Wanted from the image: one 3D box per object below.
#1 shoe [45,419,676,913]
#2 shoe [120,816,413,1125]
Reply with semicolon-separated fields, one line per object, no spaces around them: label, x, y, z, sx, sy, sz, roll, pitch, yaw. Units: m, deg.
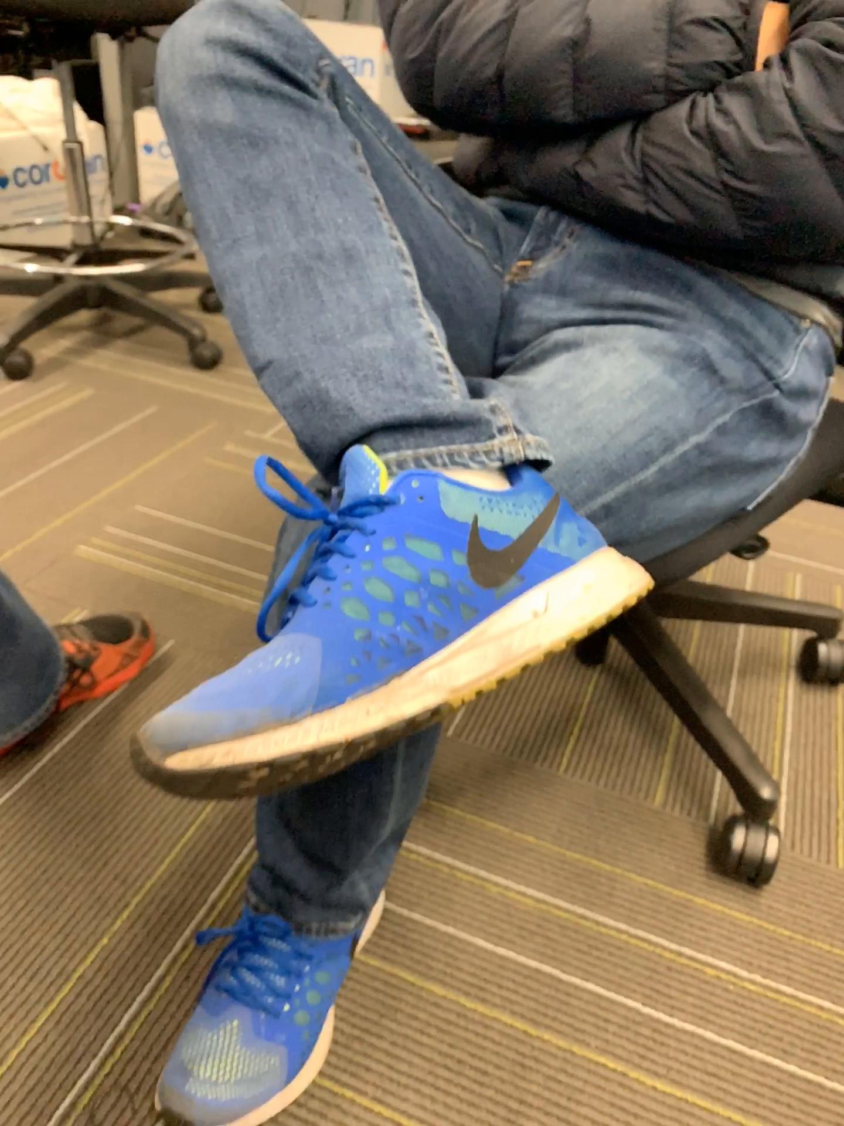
shoe;-0.022;0.034;0.428;0.276;0.116;0.103;-22;66;-37
shoe;-0.118;0.365;0.756;0.101;0.086;0.285;18;35;18
